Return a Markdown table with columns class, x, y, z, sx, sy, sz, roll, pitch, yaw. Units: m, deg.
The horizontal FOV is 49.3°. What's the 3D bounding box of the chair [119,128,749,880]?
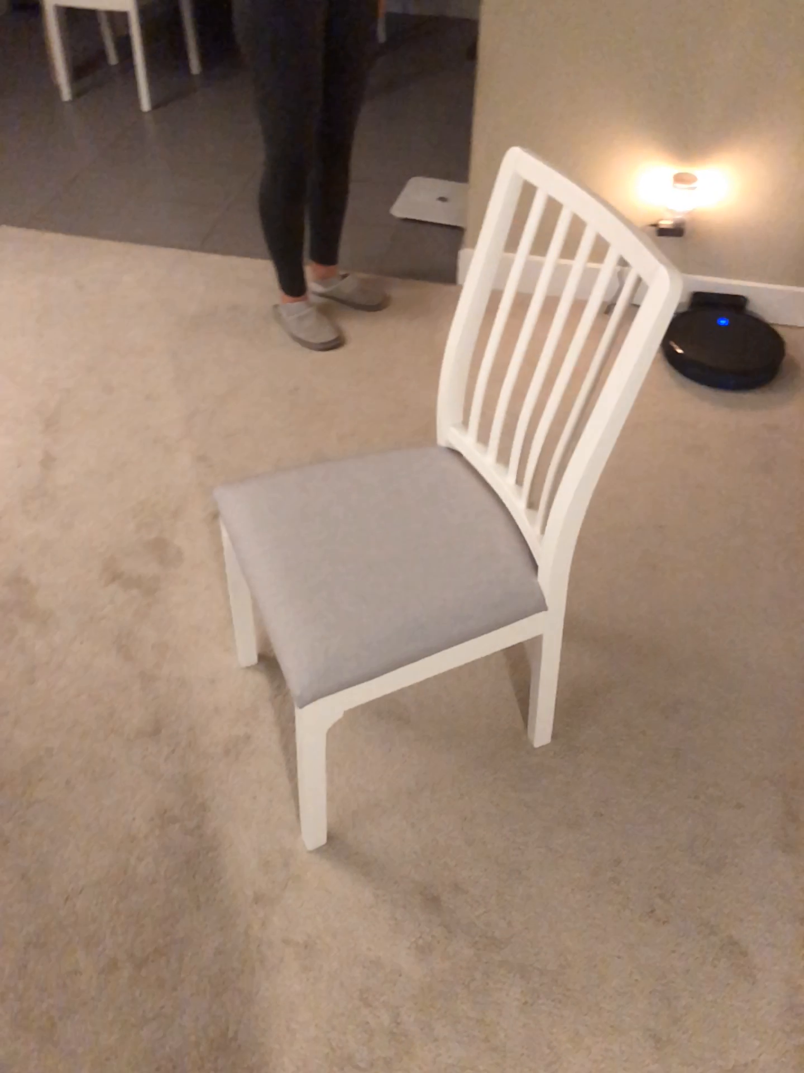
| class | x | y | z | sx | sy | sz | roll | pitch | yaw |
| --- | --- | --- | --- | --- | --- | --- | --- | --- | --- |
| chair | -0.001 | -0.009 | 1.299 | 0.551 | 0.905 | 0.502 | -15 | 48 | -15 |
